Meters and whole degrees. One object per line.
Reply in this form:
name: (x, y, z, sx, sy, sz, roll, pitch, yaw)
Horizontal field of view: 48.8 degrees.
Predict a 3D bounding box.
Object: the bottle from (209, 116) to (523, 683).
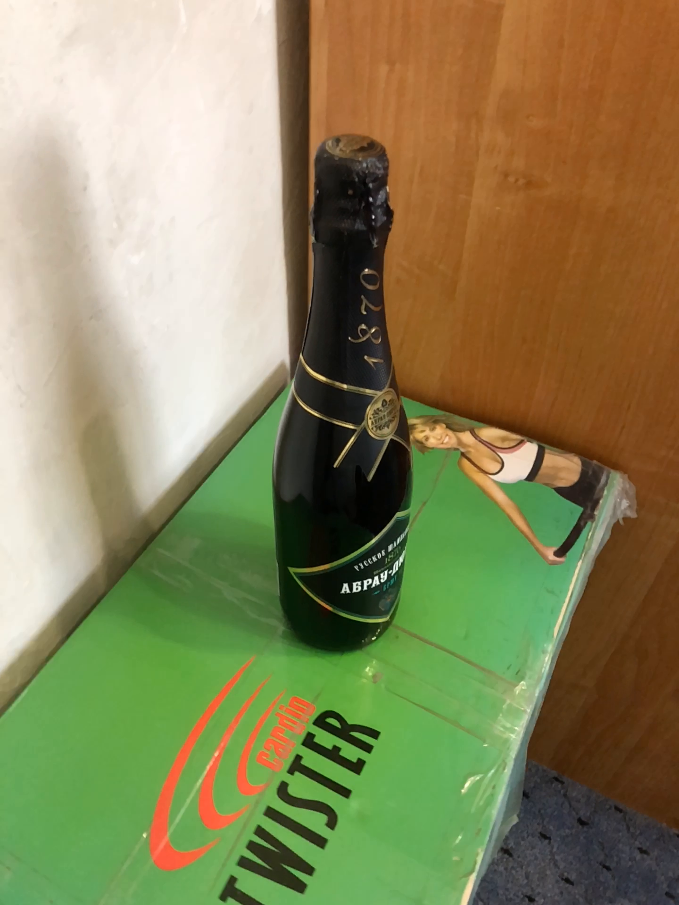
bottle: (0.008, -0.006, 0.410, 0.090, 0.300, 0.090, 1, 45, -1)
